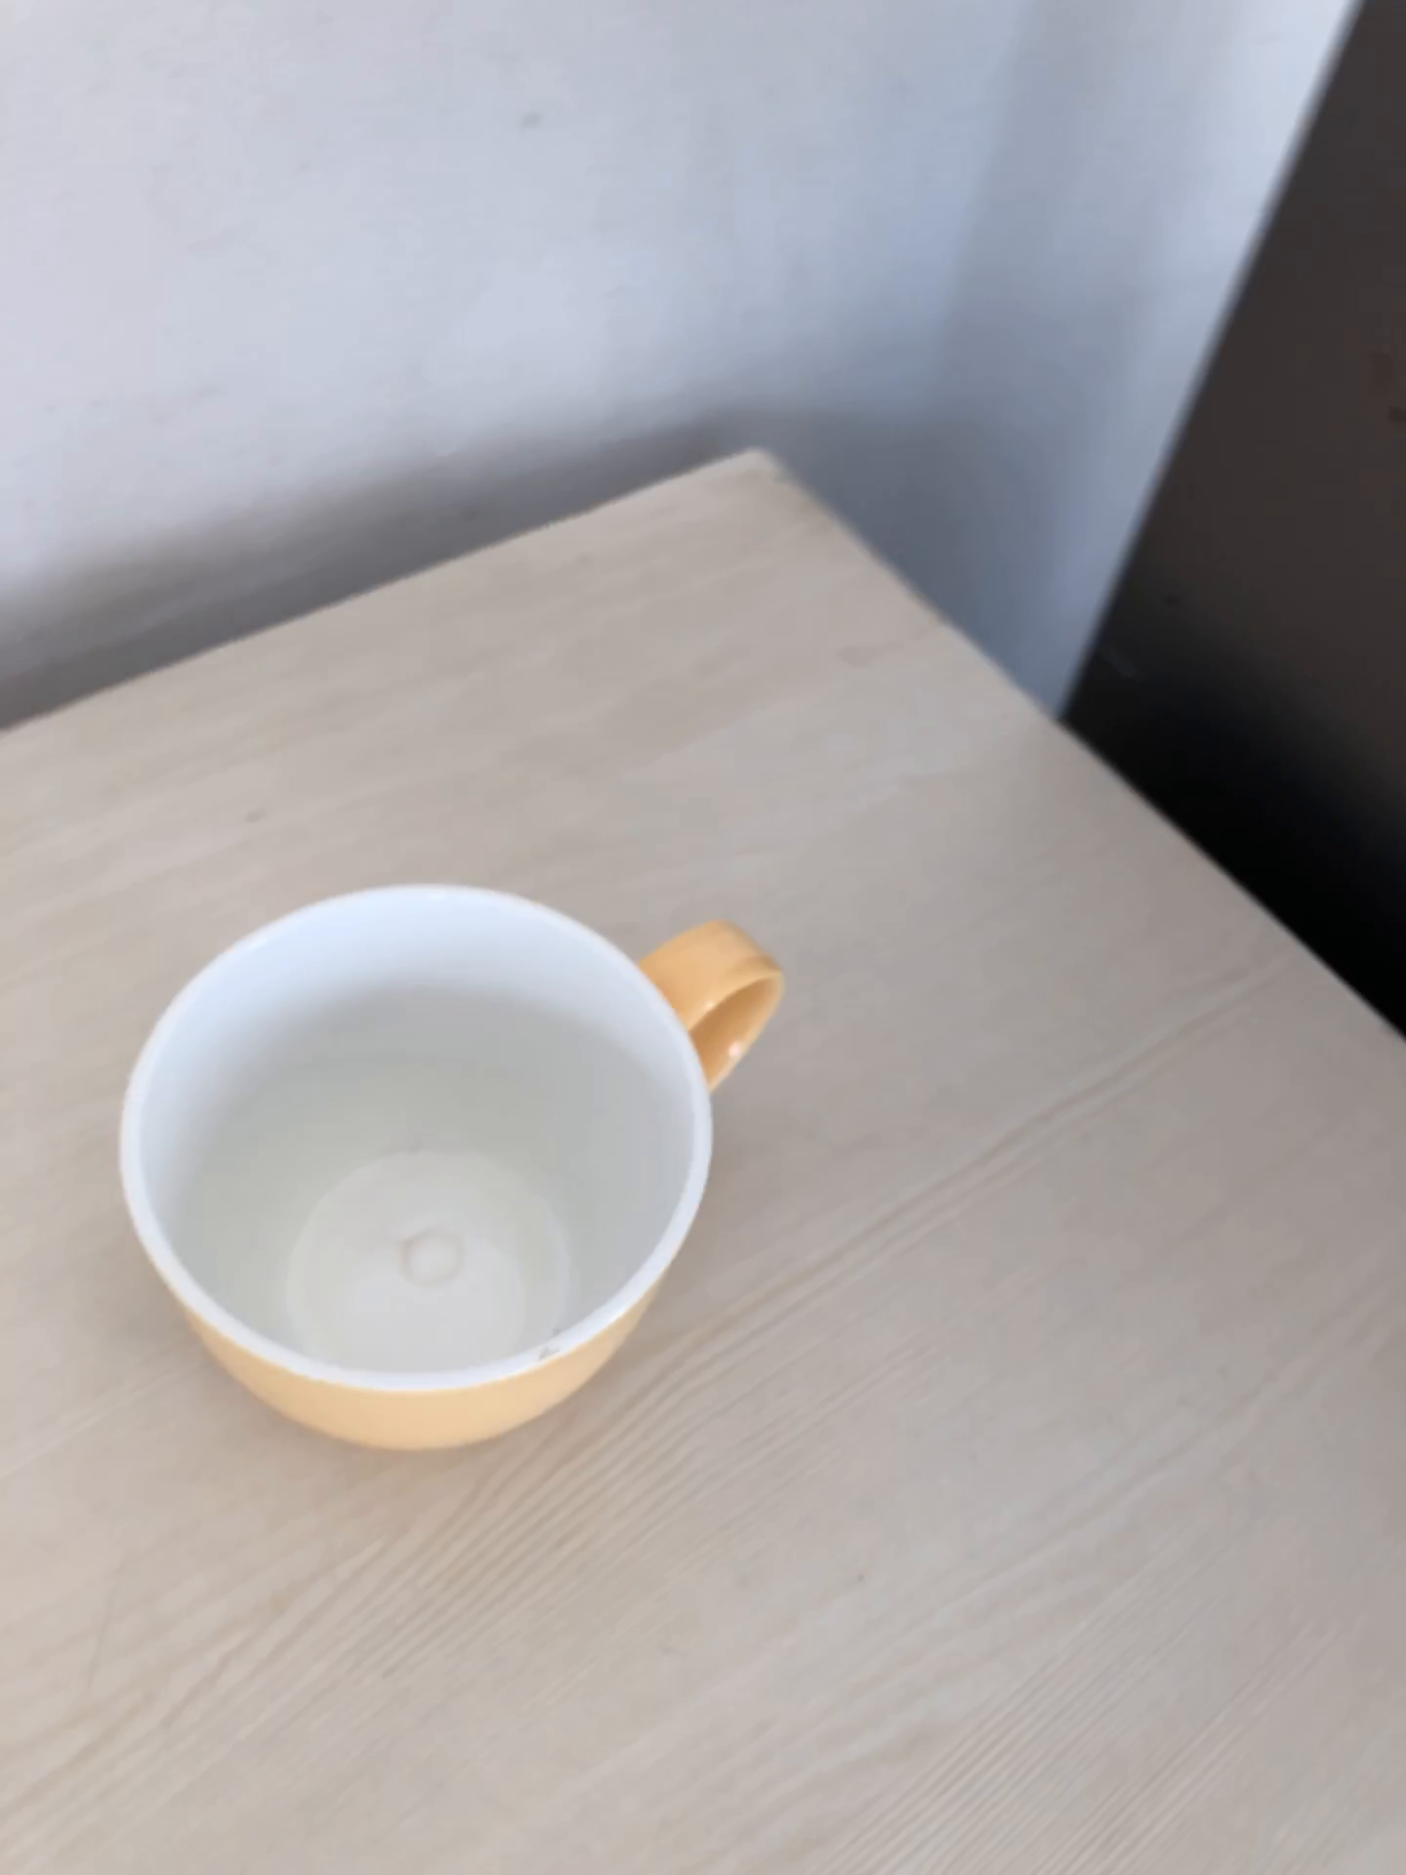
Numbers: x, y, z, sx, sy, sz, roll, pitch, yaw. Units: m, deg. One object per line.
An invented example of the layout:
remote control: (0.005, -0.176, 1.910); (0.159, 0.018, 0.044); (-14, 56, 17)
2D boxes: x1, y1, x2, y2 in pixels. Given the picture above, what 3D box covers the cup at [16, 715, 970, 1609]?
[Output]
cup: (-0.040, 0.039, 0.318); (0.140, 0.080, 0.100); (-27, 62, -26)
